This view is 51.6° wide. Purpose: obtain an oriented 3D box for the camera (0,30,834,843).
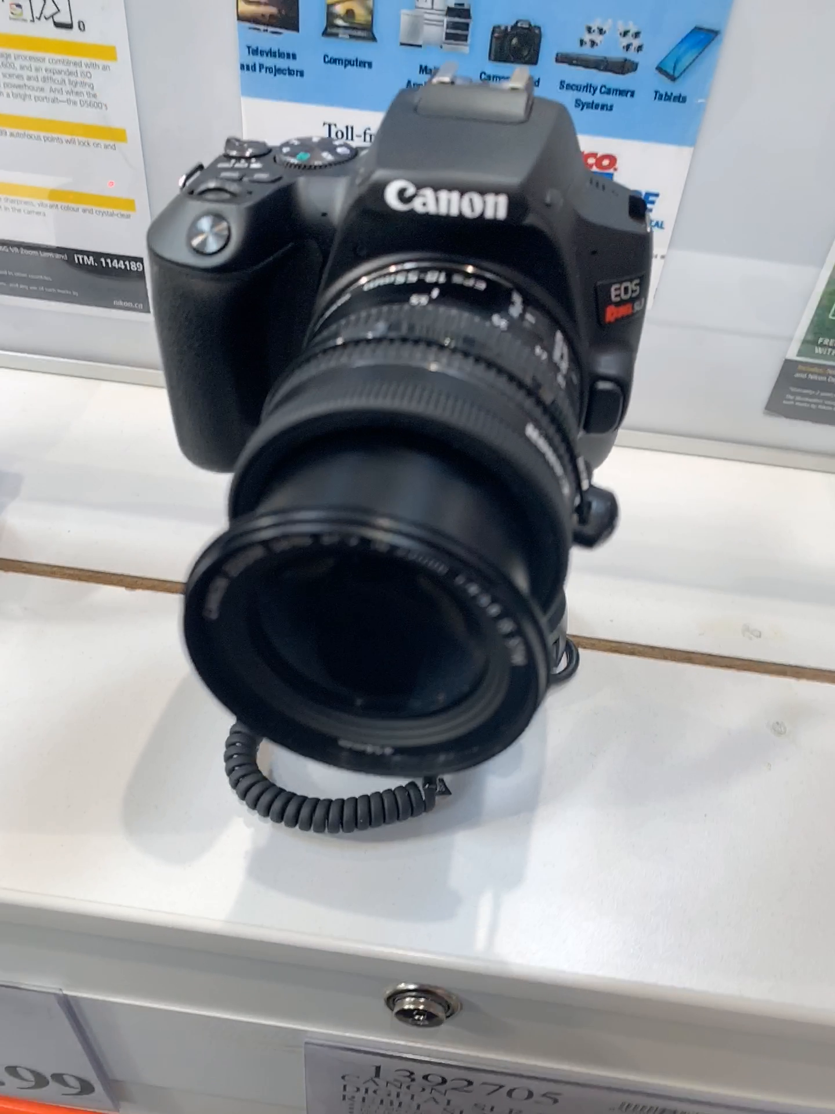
[{"bbox_3d":[-0.003,-0.037,0.167,0.119,0.079,0.141,7,40,2],"label":"camera"}]
